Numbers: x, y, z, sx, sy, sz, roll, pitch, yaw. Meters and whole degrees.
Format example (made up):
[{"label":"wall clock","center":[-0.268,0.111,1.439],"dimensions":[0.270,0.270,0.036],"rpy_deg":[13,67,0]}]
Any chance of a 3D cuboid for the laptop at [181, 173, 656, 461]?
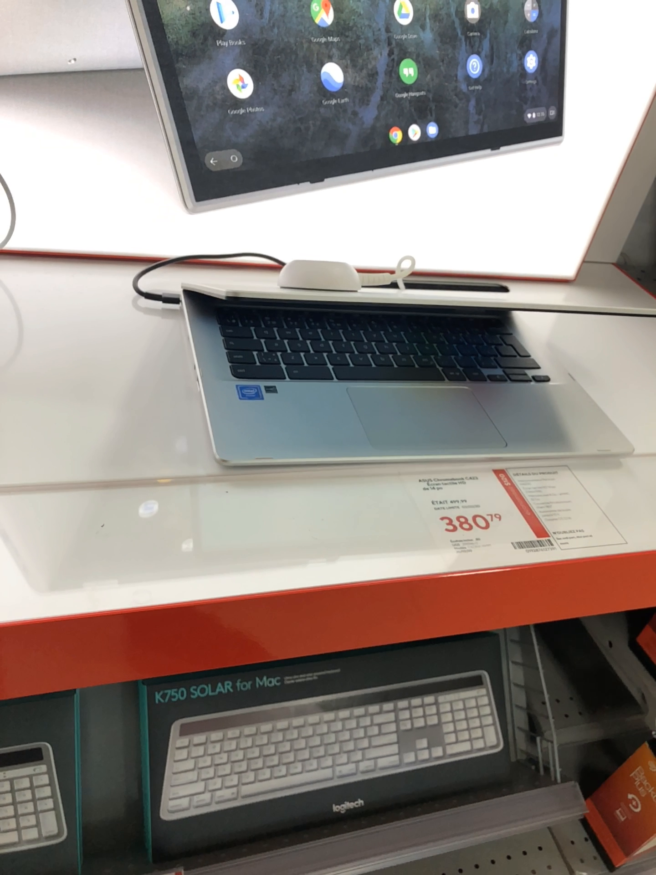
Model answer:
[{"label":"laptop","center":[0.063,-0.097,0.552],"dimensions":[0.317,0.100,0.226],"rpy_deg":[-1,38,-18]}]
